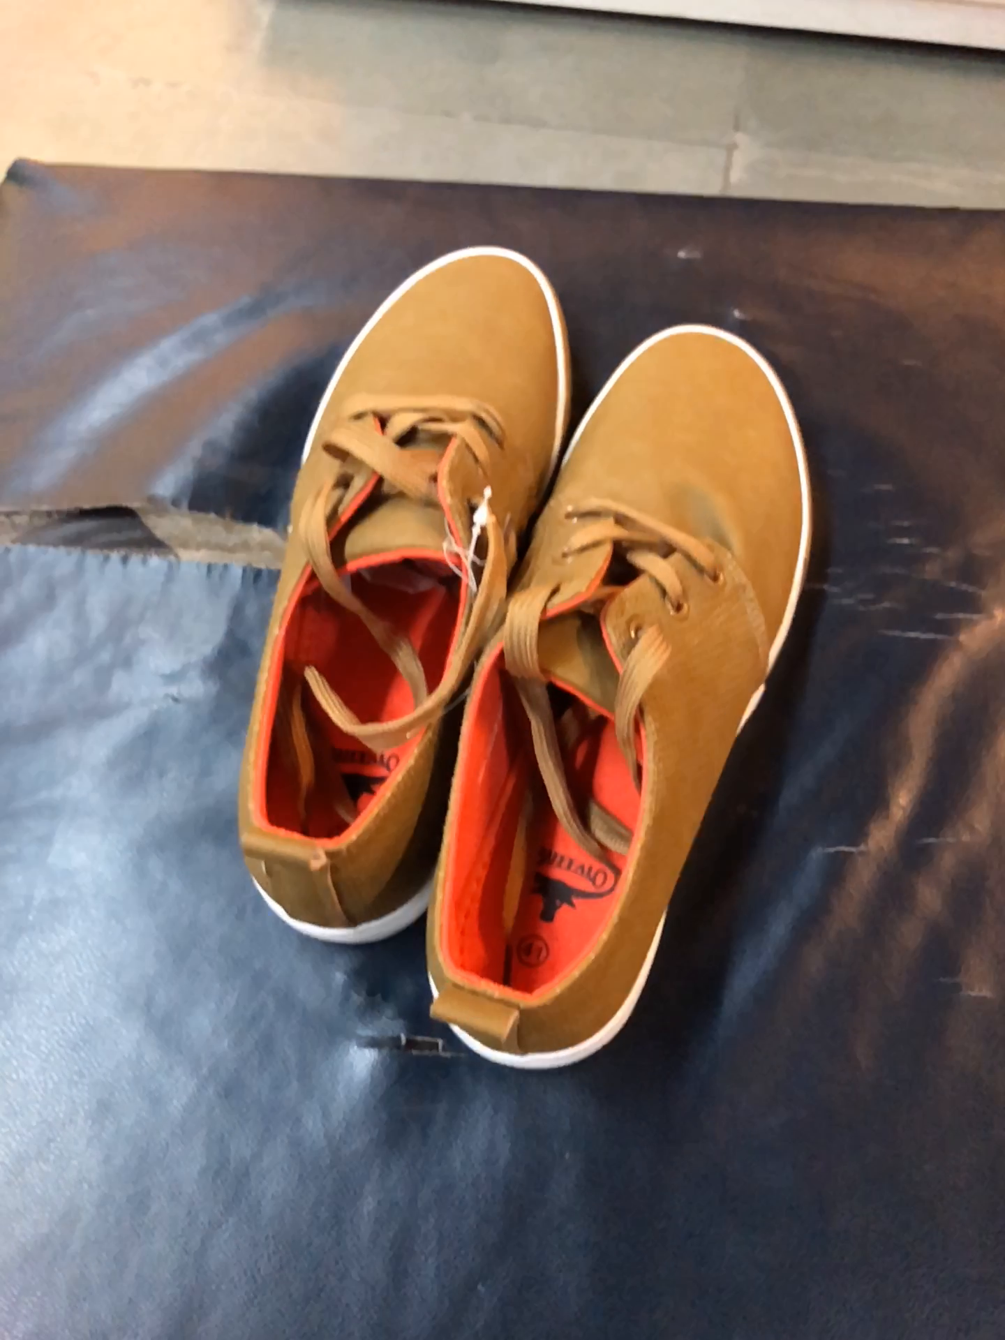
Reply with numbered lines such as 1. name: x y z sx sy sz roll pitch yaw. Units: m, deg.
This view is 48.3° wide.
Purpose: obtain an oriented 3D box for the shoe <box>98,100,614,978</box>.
1. shoe: -0.028 -0.050 0.366 0.100 0.097 0.267 6 64 5

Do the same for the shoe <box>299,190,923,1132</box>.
1. shoe: 0.043 -0.011 0.343 0.095 0.091 0.261 17 66 10
